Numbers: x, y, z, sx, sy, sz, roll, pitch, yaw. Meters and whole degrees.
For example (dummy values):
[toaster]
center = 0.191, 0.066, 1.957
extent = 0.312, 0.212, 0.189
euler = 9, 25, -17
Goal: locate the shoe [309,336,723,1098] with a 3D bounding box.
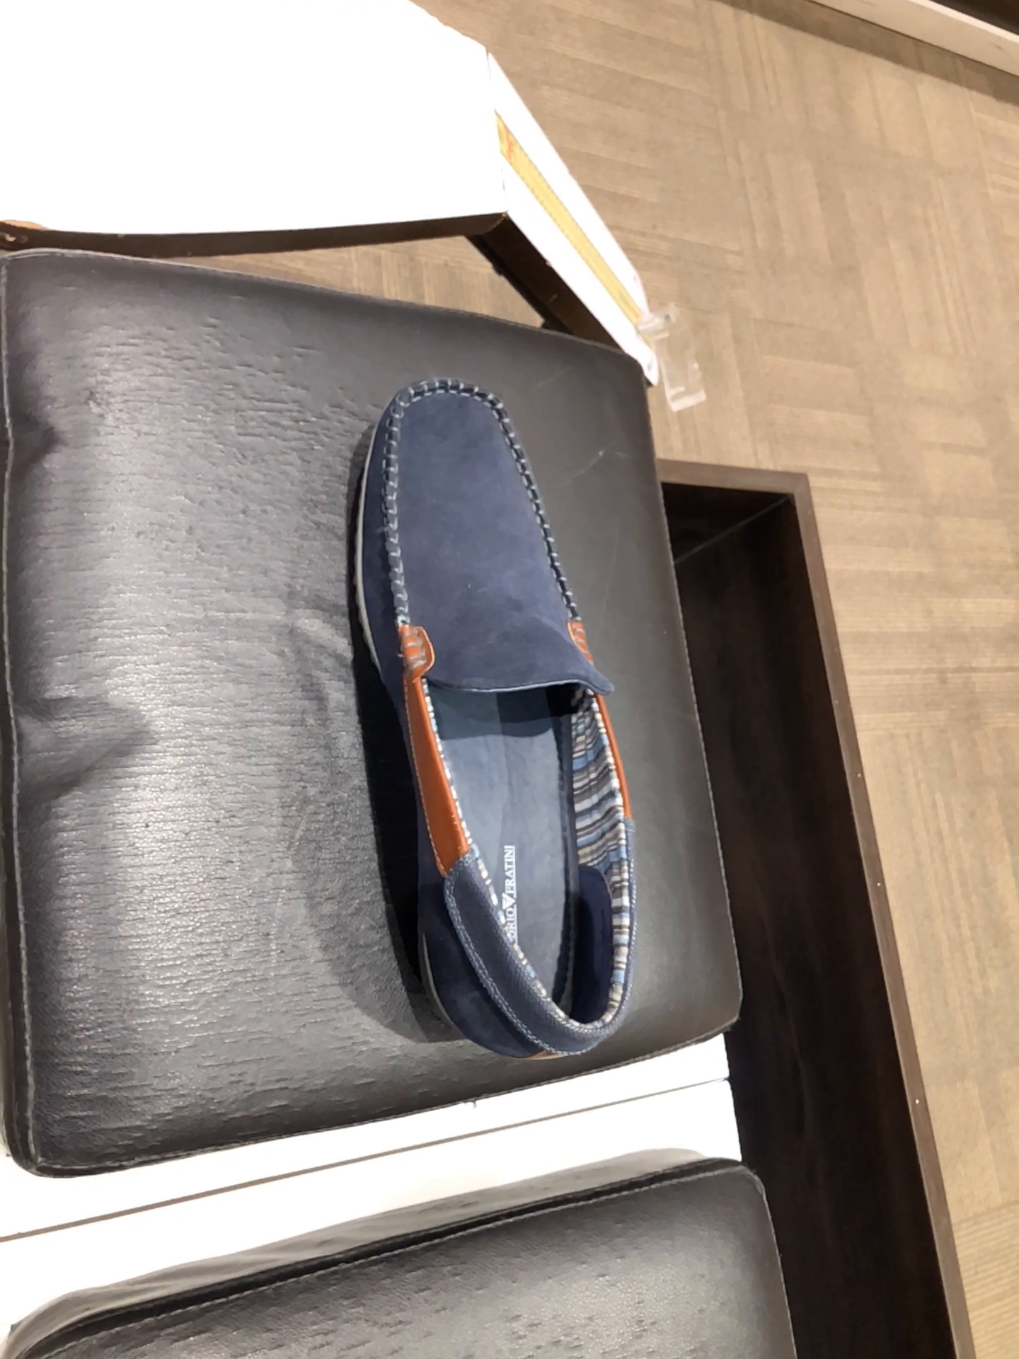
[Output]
[shoe]
center = -0.005, 0.015, 0.491
extent = 0.110, 0.099, 0.291
euler = -1, 77, -29
